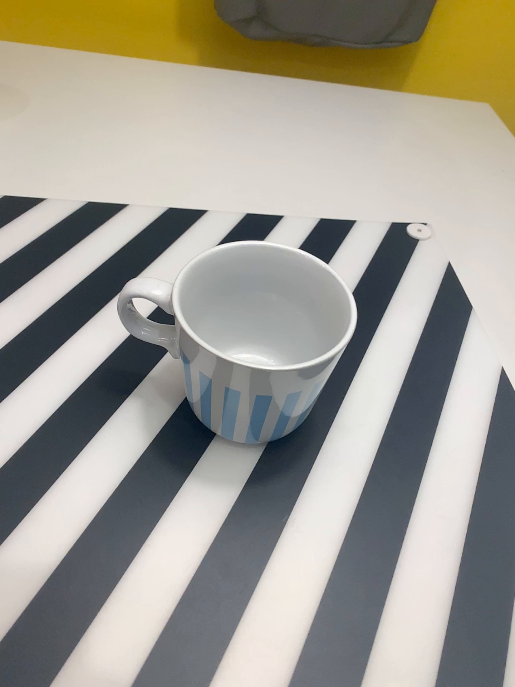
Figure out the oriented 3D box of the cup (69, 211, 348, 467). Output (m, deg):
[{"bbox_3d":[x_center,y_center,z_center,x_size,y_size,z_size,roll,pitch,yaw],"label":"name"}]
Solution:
[{"bbox_3d":[-0.020,-0.003,0.266,0.110,0.070,0.080,13,46,1],"label":"cup"}]
